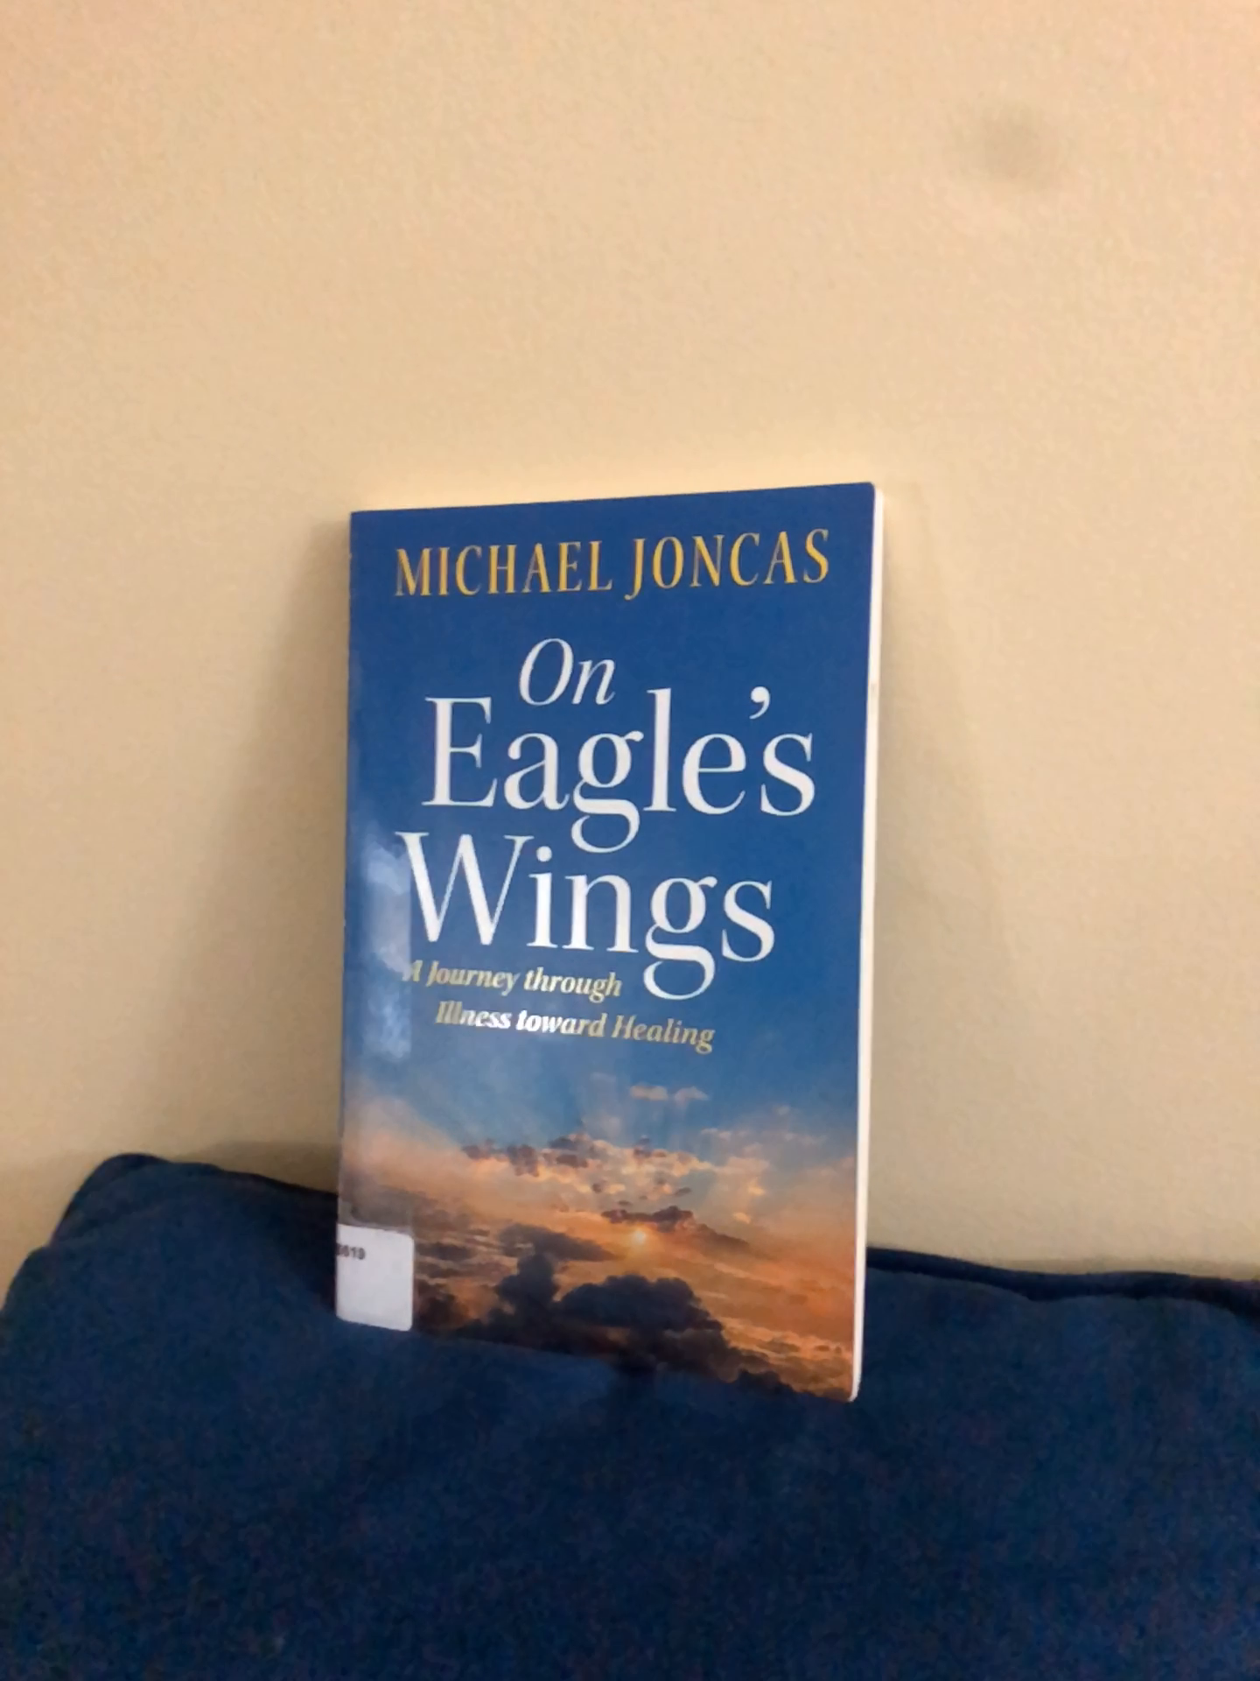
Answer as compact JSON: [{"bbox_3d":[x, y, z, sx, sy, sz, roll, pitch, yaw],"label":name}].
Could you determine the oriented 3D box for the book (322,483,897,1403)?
[{"bbox_3d":[-0.009,0.021,0.350,0.139,0.211,0.014,2,0,19],"label":"book"}]
